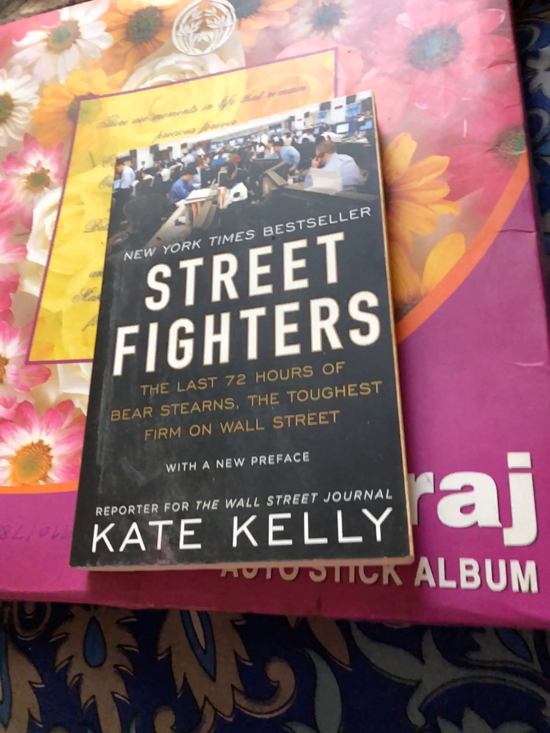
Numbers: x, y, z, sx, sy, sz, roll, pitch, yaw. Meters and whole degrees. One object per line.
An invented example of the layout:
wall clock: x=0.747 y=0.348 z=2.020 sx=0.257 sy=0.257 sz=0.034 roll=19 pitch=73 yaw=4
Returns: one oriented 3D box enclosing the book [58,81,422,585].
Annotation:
book: x=-0.018 y=-0.015 z=0.274 sx=0.140 sy=0.030 sz=0.210 roll=-8 pitch=68 yaw=20
